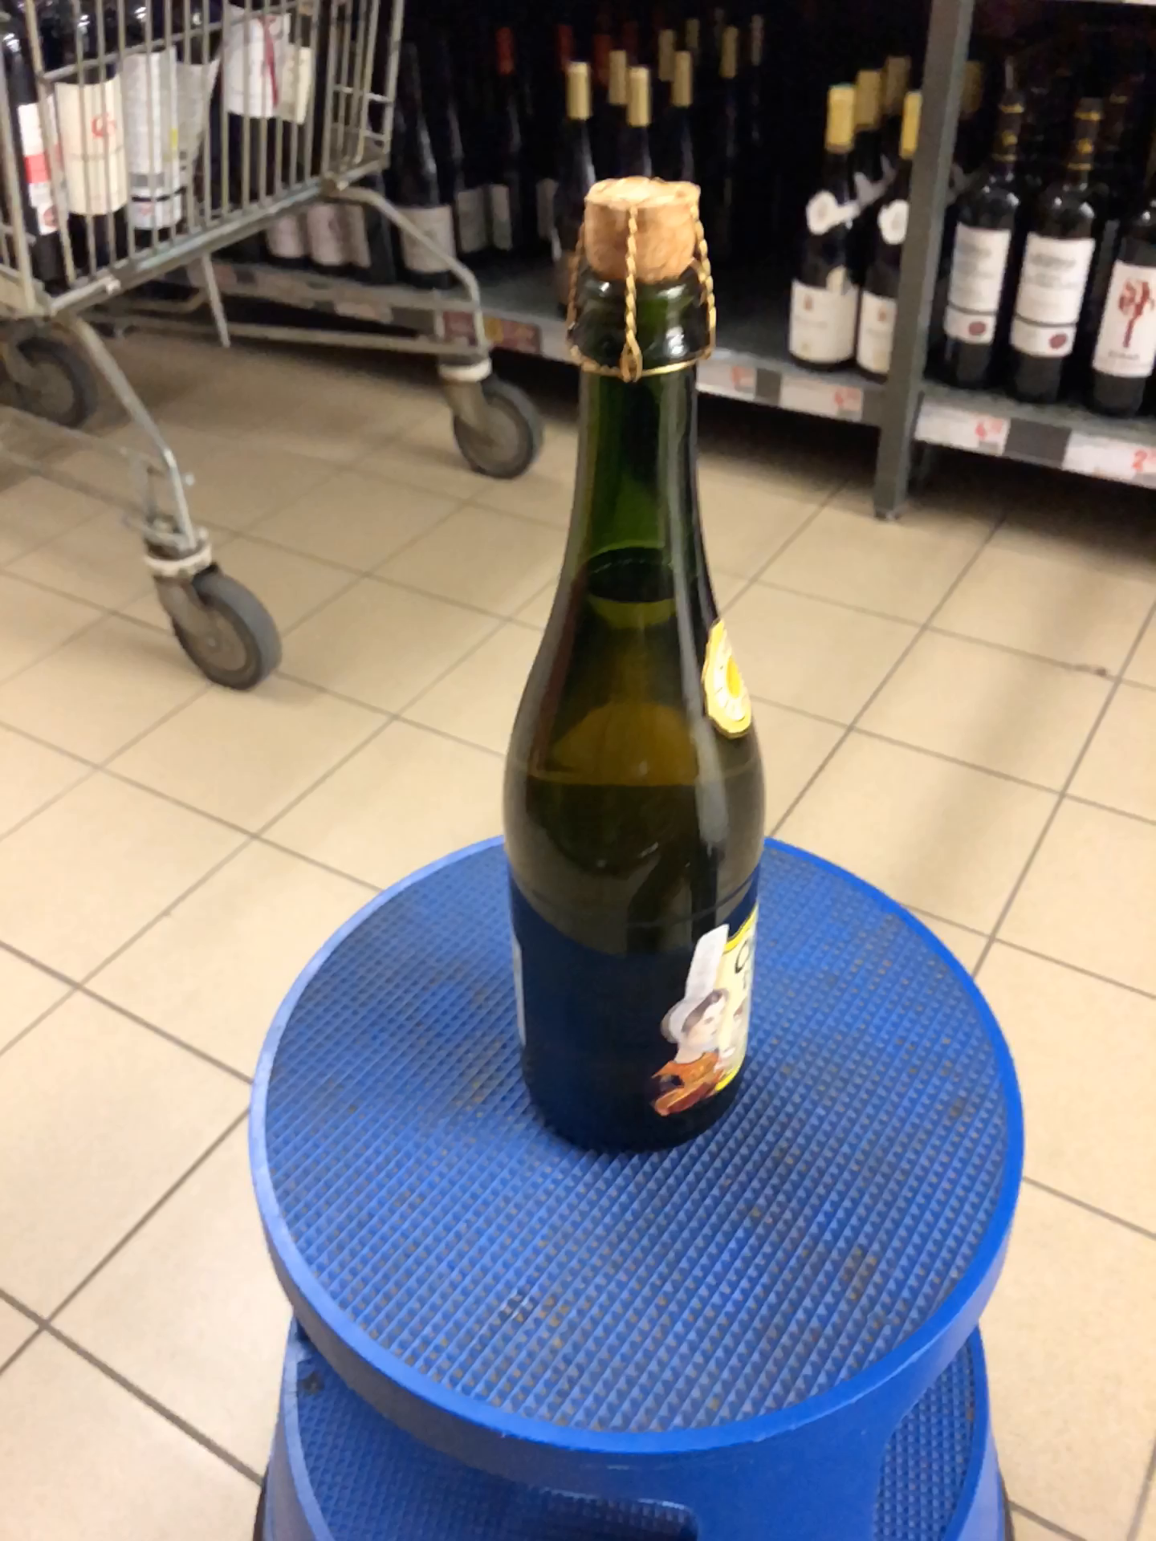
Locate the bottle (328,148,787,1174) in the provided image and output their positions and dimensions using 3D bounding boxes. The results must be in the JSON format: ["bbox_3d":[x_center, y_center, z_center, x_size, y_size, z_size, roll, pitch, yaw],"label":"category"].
[{"bbox_3d":[0.000,-0.010,0.379,0.090,0.298,0.091,-2,38,1],"label":"bottle"}]
